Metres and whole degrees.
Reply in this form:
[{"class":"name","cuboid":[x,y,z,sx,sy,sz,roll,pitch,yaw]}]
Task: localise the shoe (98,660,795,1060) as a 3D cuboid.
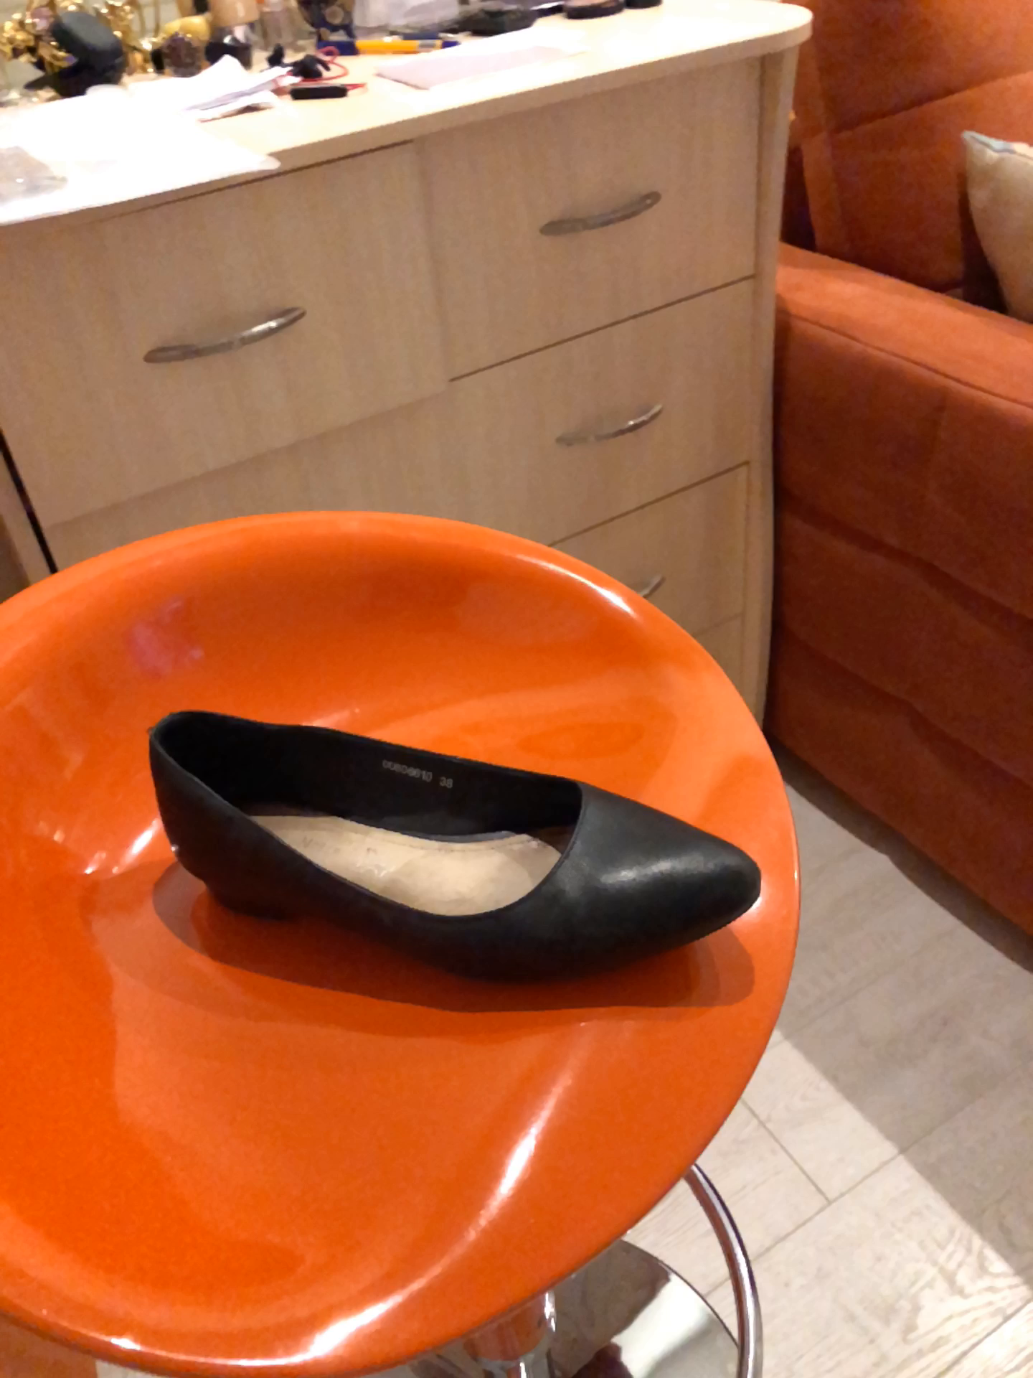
[{"class":"shoe","cuboid":[-0.026,0.062,0.467,0.260,0.079,0.091,7,41,19]}]
